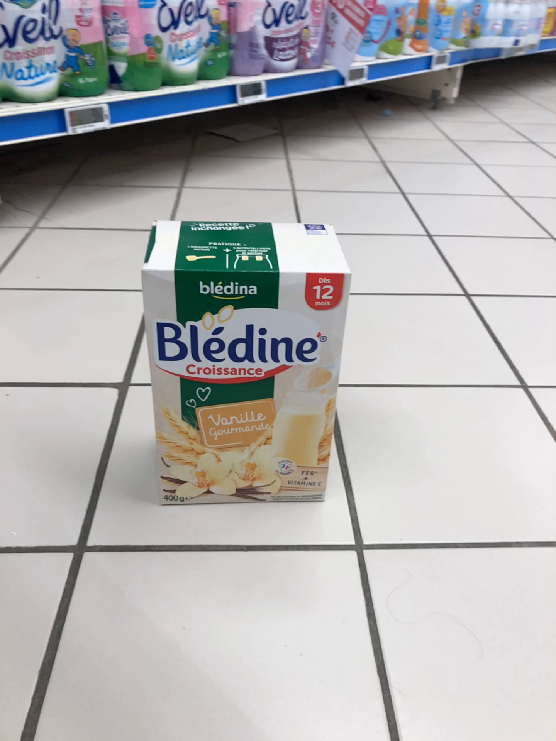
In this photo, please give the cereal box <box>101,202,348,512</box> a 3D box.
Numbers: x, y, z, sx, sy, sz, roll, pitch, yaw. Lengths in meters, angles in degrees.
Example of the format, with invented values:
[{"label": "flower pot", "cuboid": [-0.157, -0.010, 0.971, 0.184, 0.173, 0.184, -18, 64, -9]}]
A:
[{"label": "cereal box", "cuboid": [-0.037, -0.007, 0.445, 0.140, 0.199, 0.101, 0, 32, -4]}]
